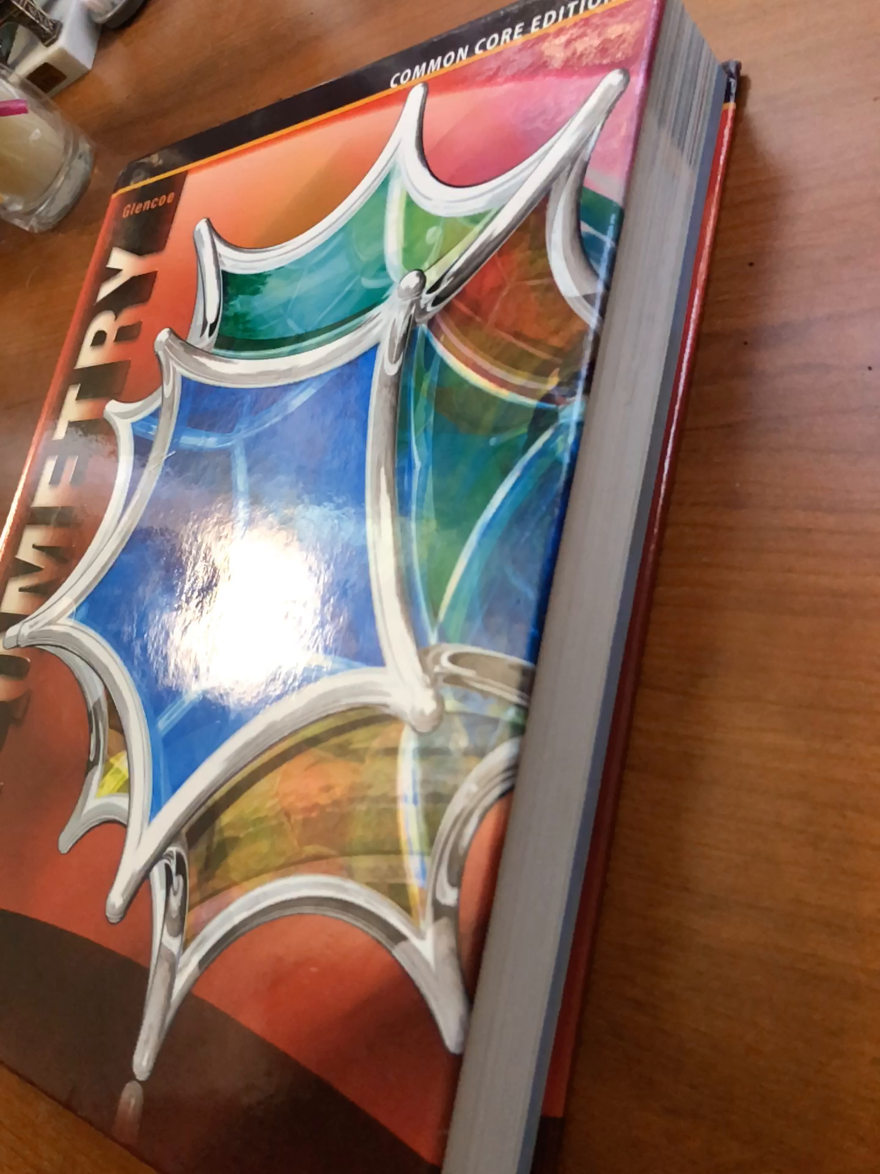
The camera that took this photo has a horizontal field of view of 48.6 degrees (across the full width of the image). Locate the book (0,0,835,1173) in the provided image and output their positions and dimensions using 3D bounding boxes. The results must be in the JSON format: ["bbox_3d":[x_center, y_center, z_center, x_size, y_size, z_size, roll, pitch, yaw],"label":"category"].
[{"bbox_3d":[-0.038,-0.004,0.269,0.229,0.050,0.310,3,74,39],"label":"book"}]
